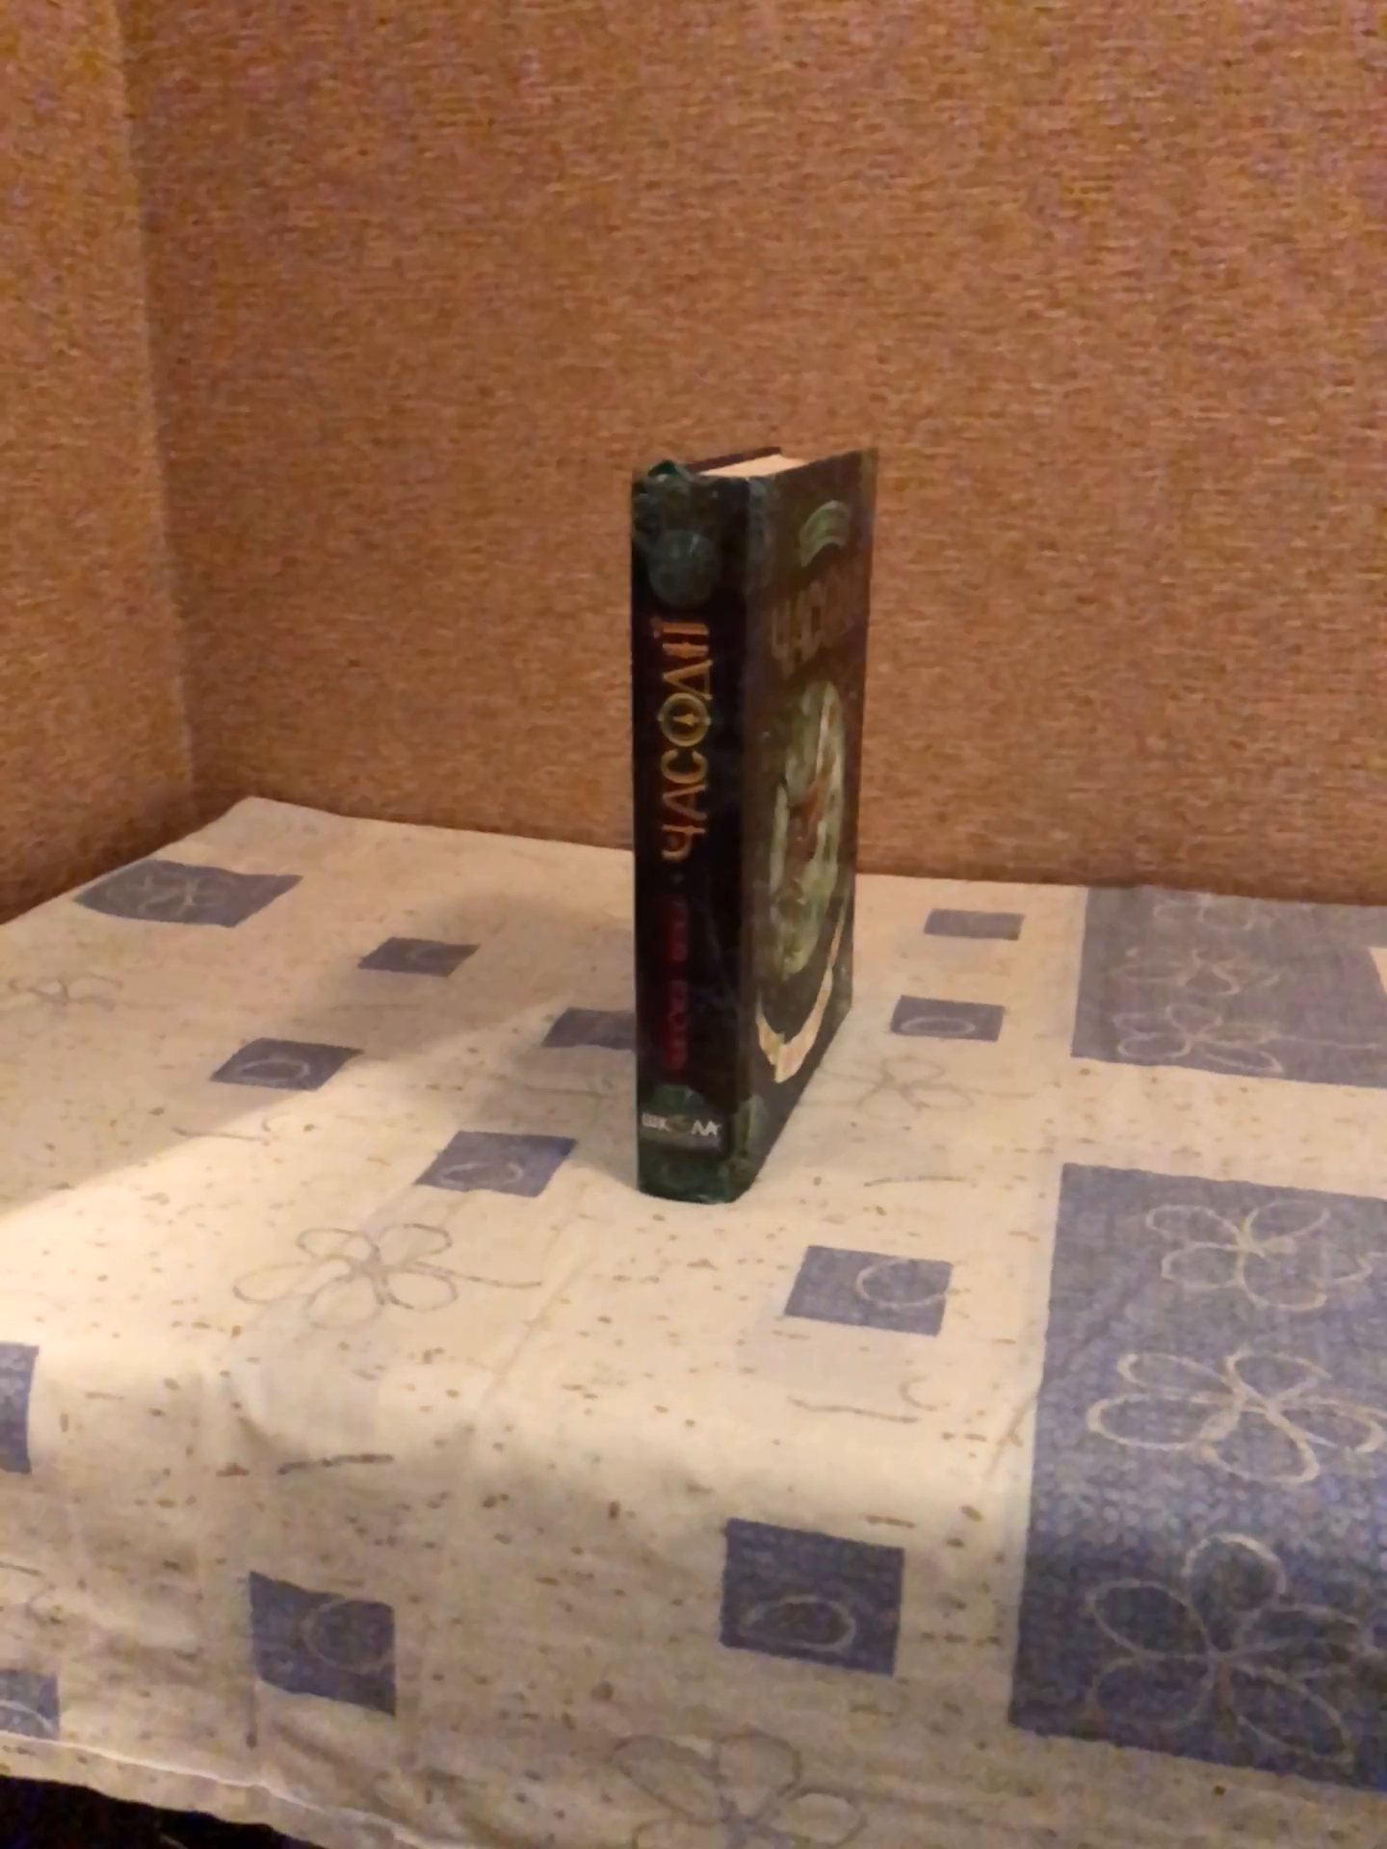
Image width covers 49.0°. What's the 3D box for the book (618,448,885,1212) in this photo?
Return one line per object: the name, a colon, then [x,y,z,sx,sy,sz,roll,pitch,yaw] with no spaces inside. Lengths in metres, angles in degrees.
book: [0.025,-0.045,0.509,0.040,0.216,0.173,5,19,16]
